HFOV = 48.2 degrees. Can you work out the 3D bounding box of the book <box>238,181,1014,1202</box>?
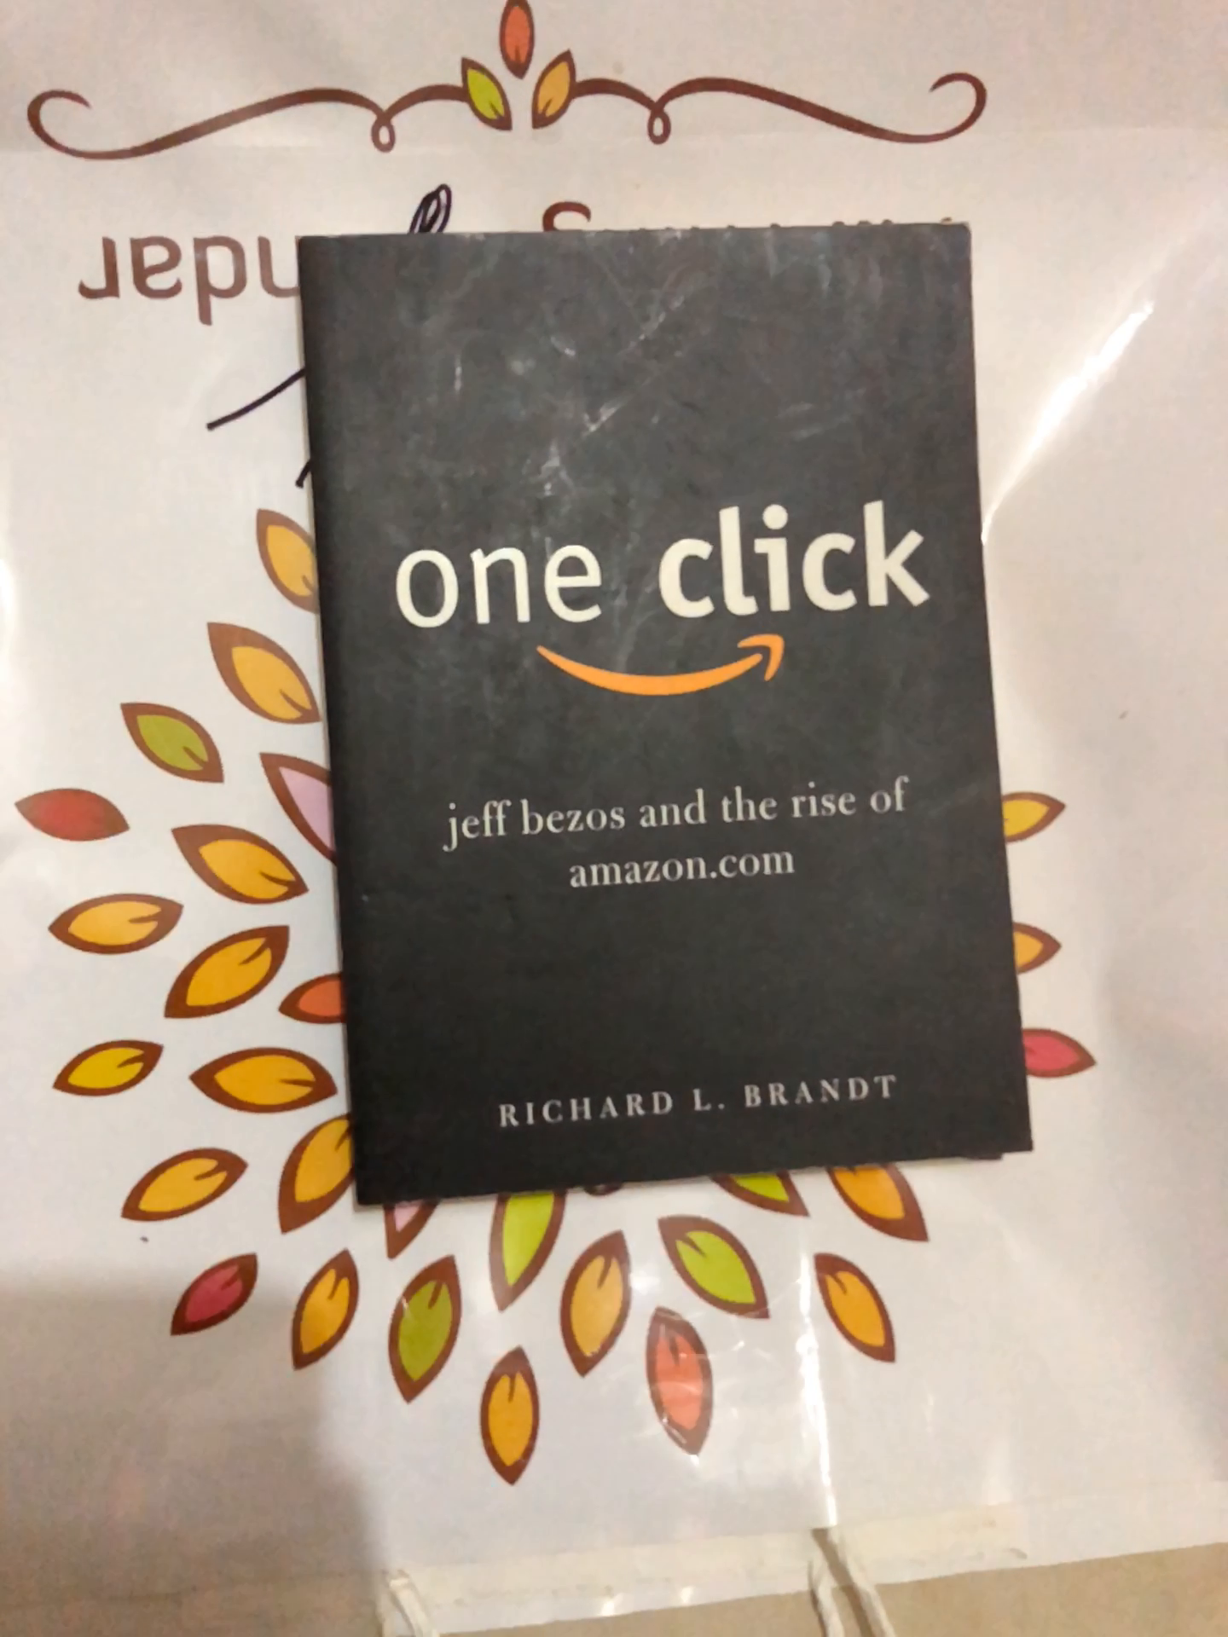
[{"bbox_3d":[0.002,-0.031,0.313,0.160,0.020,0.220,-3,87,-3],"label":"book"}]
